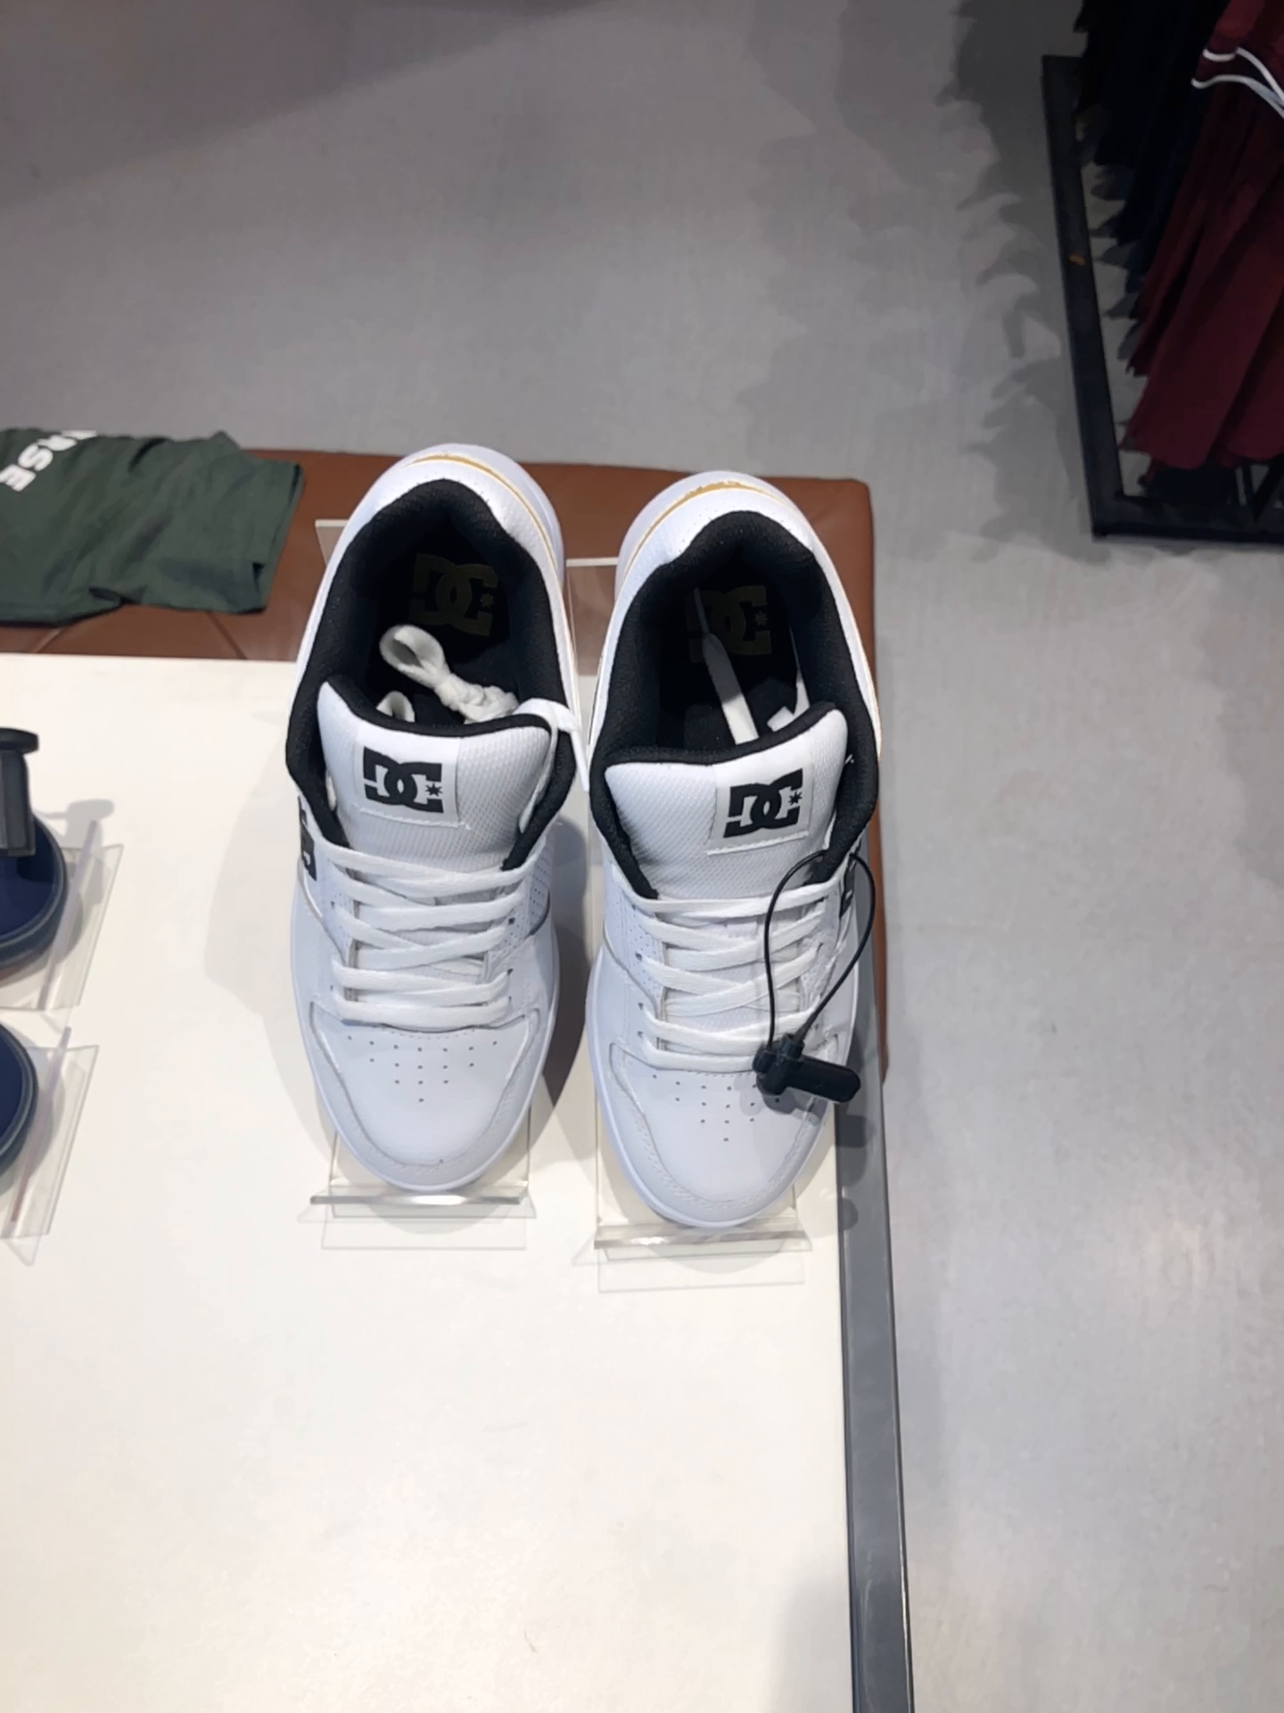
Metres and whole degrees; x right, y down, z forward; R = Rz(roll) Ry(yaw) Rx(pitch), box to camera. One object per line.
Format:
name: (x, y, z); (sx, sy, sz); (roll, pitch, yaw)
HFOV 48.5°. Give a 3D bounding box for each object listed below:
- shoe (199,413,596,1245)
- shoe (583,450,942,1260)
shoe: (-0.076, -0.009, 0.488); (0.103, 0.259, 0.102); (4, 22, 0)
shoe: (0.029, -0.001, 0.478); (0.095, 0.249, 0.102); (0, 21, -4)
